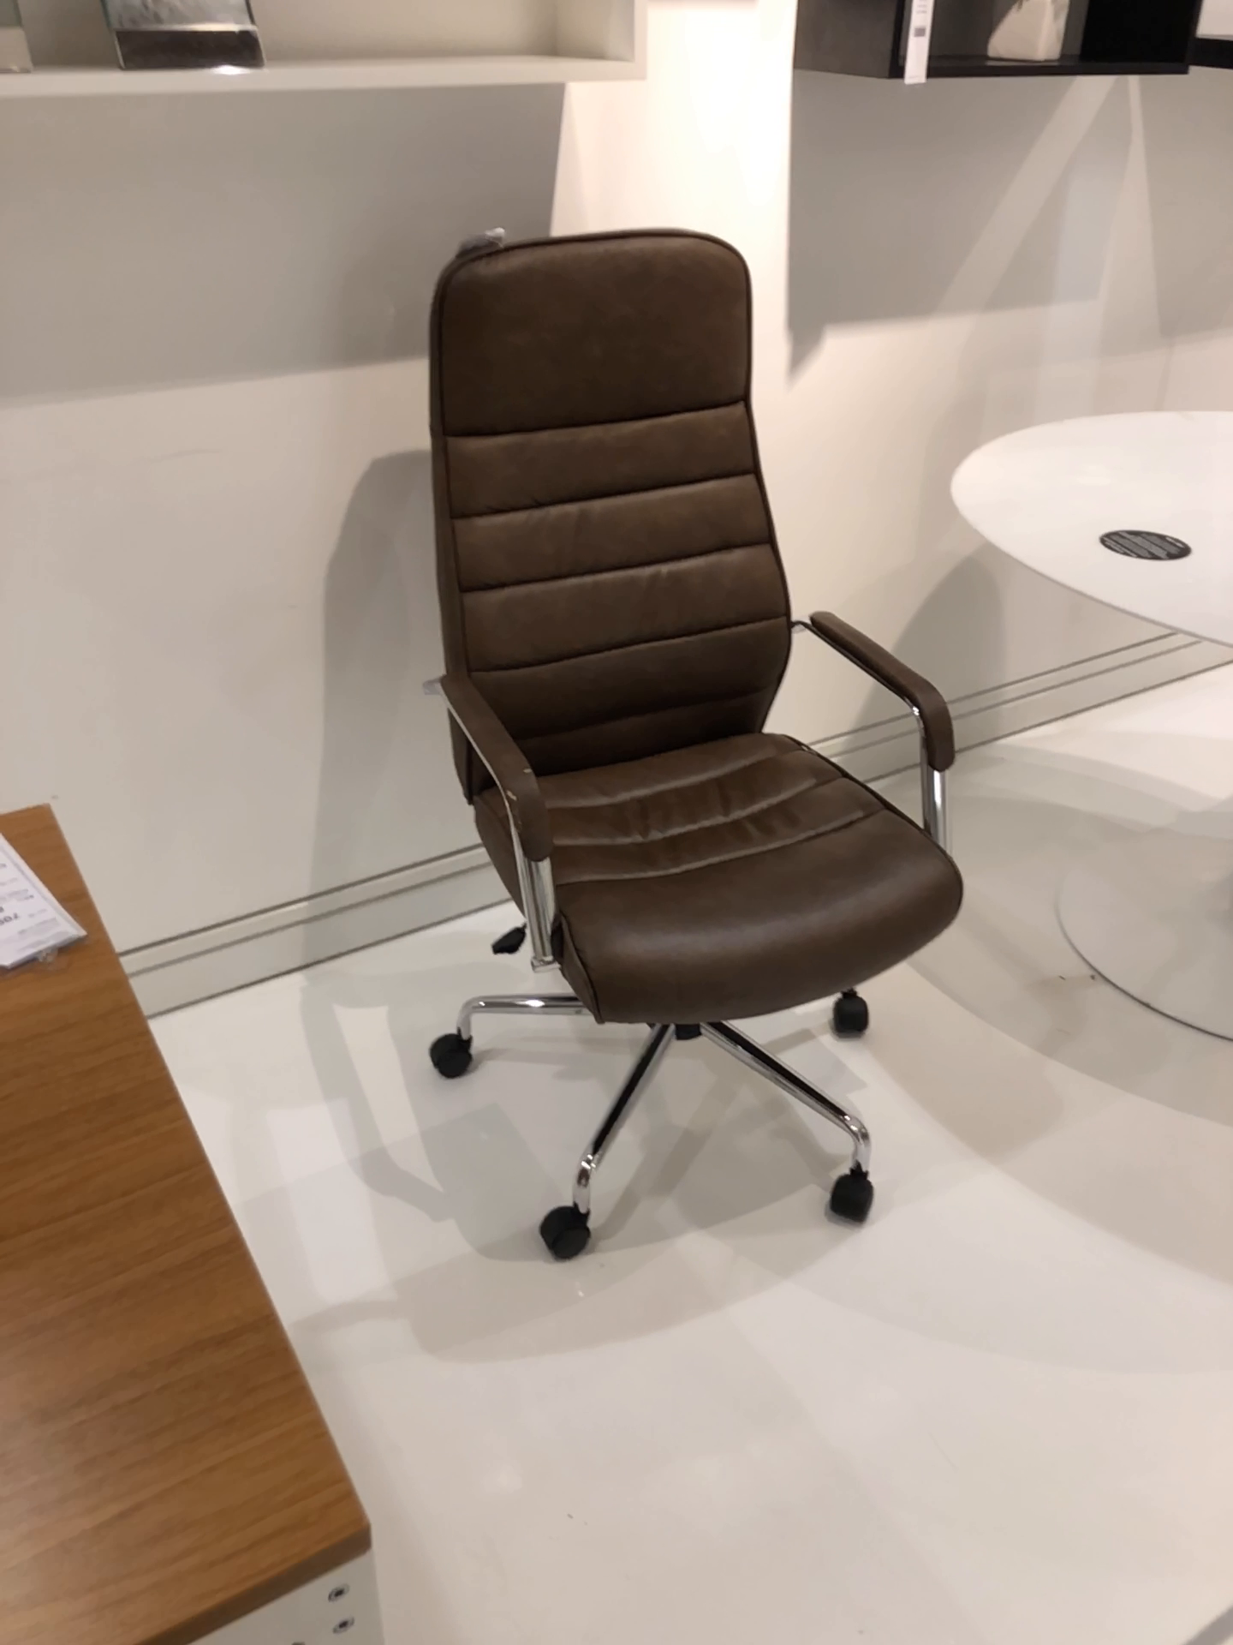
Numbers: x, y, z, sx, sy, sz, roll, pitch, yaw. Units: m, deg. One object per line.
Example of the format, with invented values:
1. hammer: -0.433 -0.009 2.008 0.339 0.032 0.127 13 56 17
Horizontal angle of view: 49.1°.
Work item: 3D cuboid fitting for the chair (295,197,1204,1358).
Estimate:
1. chair: 0.074 -0.113 1.761 0.701 1.171 0.785 -12 33 -20
